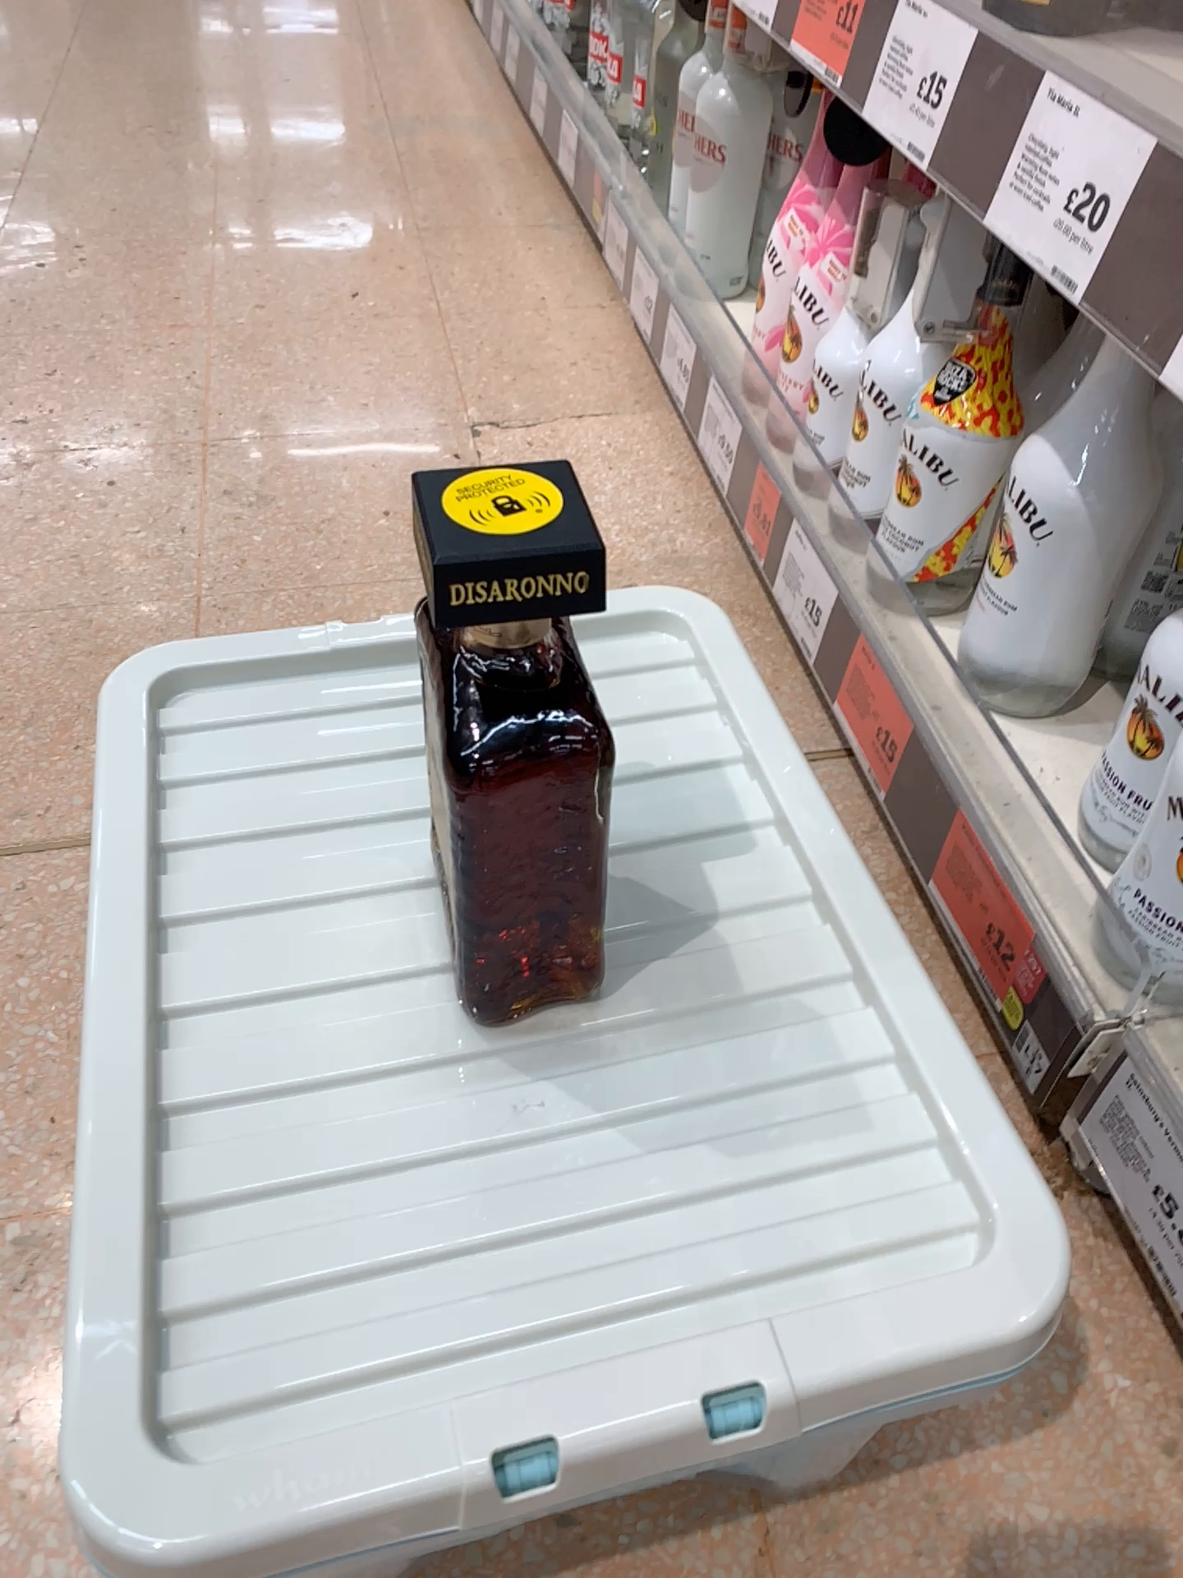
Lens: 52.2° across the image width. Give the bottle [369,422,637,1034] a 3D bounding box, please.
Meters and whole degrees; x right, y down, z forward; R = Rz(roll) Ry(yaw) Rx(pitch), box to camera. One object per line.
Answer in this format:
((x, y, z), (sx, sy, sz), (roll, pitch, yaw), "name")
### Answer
((-0.036, -0.016, 0.468), (0.070, 0.208, 0.111), (-7, 45, -10), "bottle")
